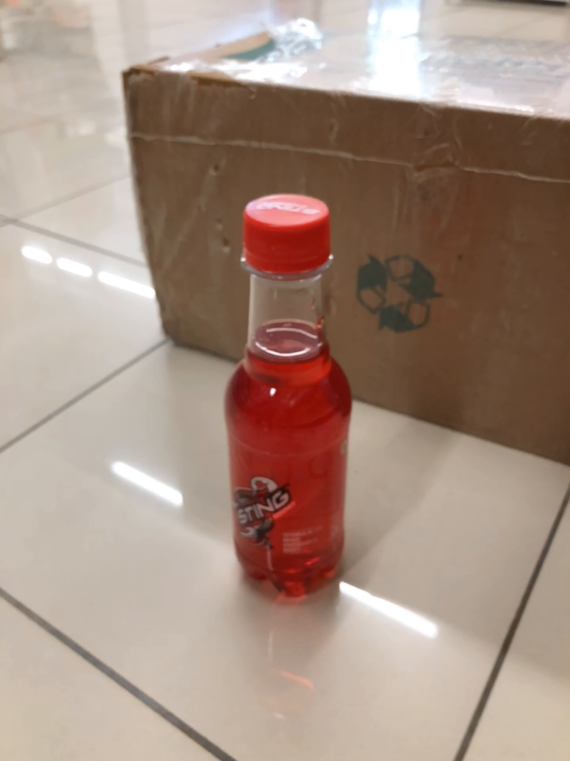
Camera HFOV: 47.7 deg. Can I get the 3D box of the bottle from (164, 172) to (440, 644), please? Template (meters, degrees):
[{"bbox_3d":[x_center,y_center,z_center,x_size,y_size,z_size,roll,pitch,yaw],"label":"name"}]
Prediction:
[{"bbox_3d":[0.008,0.015,0.277,0.070,0.179,0.070,0,34,0],"label":"bottle"}]
